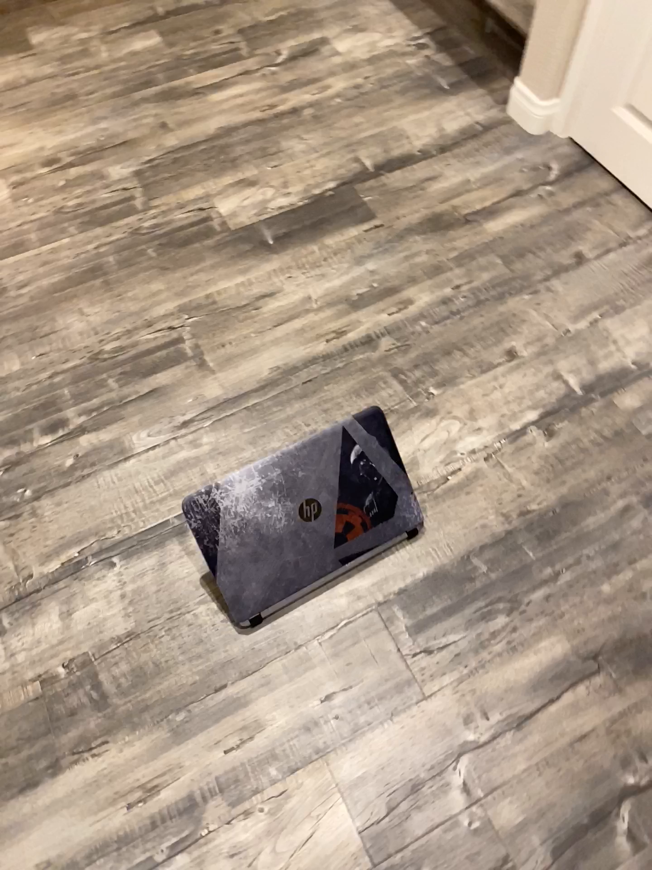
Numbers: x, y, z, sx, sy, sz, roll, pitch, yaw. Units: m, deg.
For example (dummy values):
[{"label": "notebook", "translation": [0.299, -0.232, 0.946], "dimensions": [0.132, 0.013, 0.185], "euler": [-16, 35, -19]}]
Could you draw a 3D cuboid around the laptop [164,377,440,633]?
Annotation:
[{"label": "laptop", "translation": [-0.041, 0.116, 1.152], "dimensions": [0.374, 0.177, 0.251], "euler": [-26, 62, -14]}]
